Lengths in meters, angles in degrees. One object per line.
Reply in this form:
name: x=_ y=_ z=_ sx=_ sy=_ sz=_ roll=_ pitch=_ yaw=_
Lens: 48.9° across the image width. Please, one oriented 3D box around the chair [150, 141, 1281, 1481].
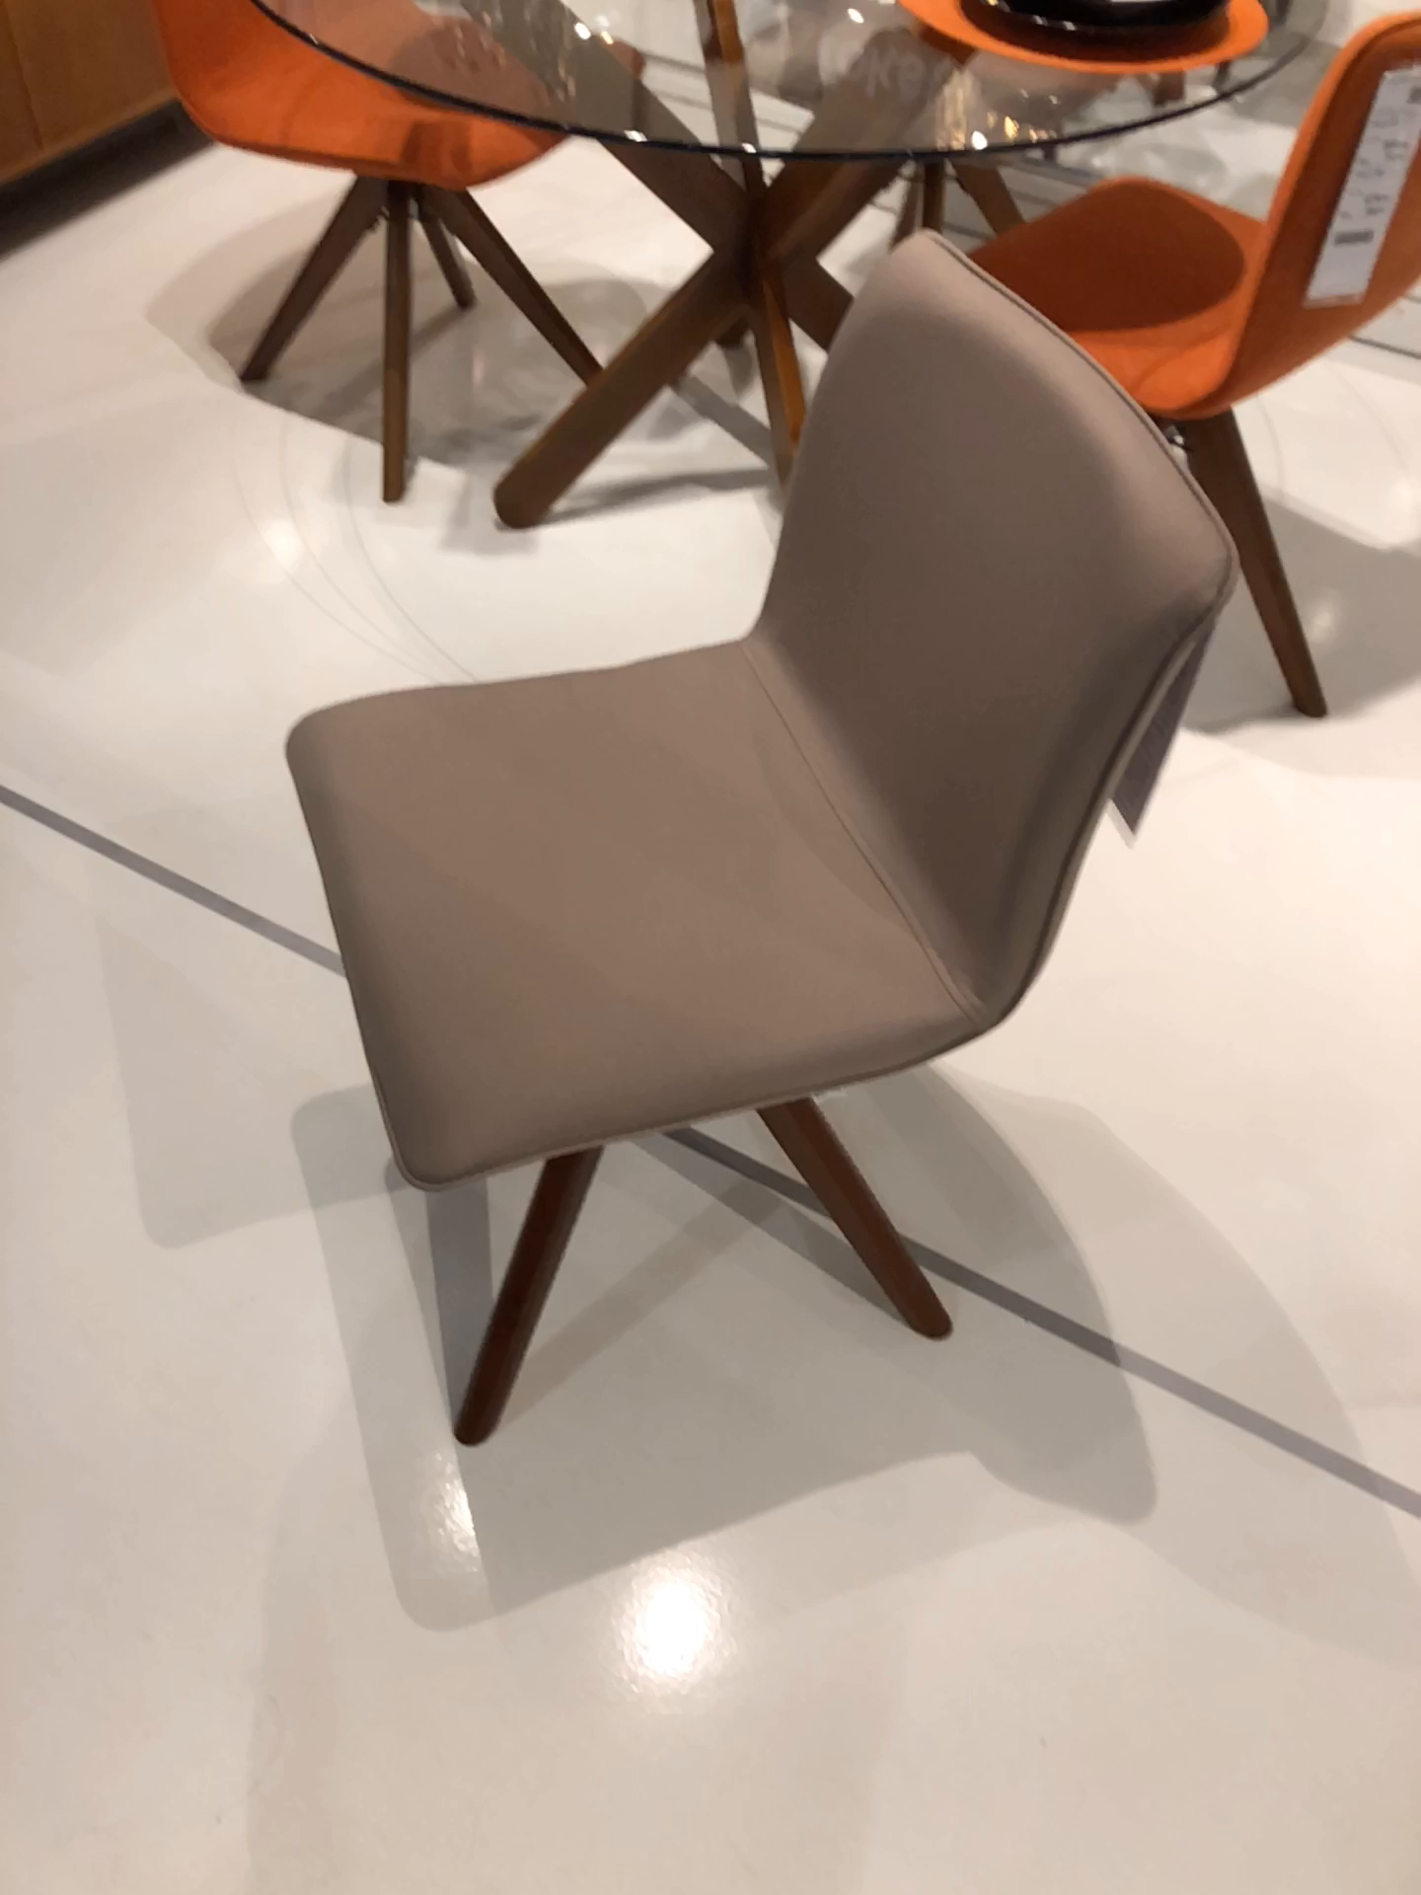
chair: x=-0.042 y=-0.064 z=1.187 sx=0.510 sy=0.805 sz=0.502 roll=-13 pitch=51 yaw=-12
